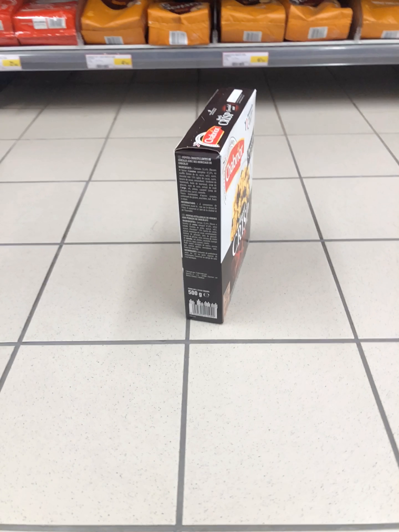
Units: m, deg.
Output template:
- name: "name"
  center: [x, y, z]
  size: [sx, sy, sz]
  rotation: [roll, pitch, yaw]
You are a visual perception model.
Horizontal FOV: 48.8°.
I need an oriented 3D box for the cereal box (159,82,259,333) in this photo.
- name: "cereal box"
  center: [0.021, -0.075, 0.537]
  size: [0.060, 0.229, 0.201]
  rotation: [8, 39, 12]
